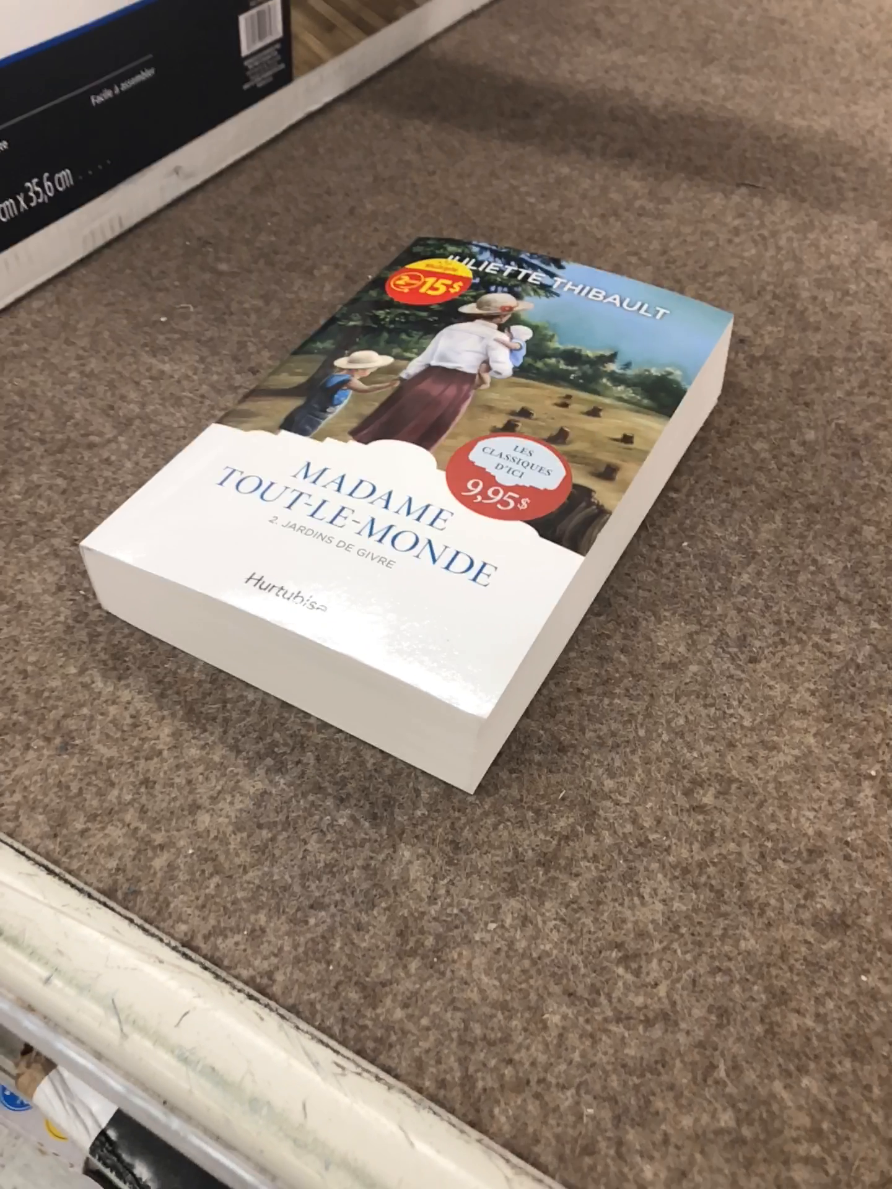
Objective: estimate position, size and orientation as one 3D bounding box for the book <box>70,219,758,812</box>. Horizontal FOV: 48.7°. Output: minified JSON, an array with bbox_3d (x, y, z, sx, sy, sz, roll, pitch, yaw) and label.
[{"bbox_3d":[0.001,-0.052,0.376,0.160,0.050,0.222,21,54,21],"label":"book"}]
